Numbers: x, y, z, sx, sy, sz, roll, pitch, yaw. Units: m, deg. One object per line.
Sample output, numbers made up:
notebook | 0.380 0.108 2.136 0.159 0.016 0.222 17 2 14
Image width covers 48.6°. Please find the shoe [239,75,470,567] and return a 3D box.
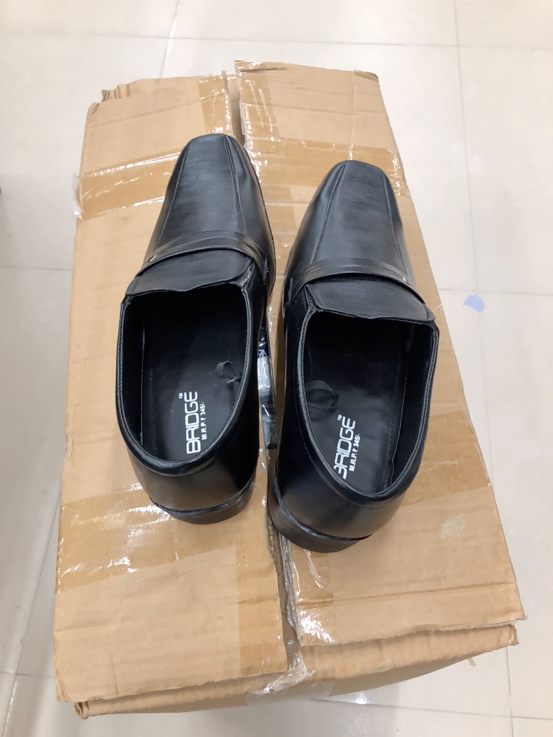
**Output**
shoe | 0.046 -0.036 0.430 0.100 0.129 0.311 8 63 -9

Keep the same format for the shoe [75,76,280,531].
shoe | -0.053 -0.048 0.428 0.100 0.130 0.291 -2 63 0
